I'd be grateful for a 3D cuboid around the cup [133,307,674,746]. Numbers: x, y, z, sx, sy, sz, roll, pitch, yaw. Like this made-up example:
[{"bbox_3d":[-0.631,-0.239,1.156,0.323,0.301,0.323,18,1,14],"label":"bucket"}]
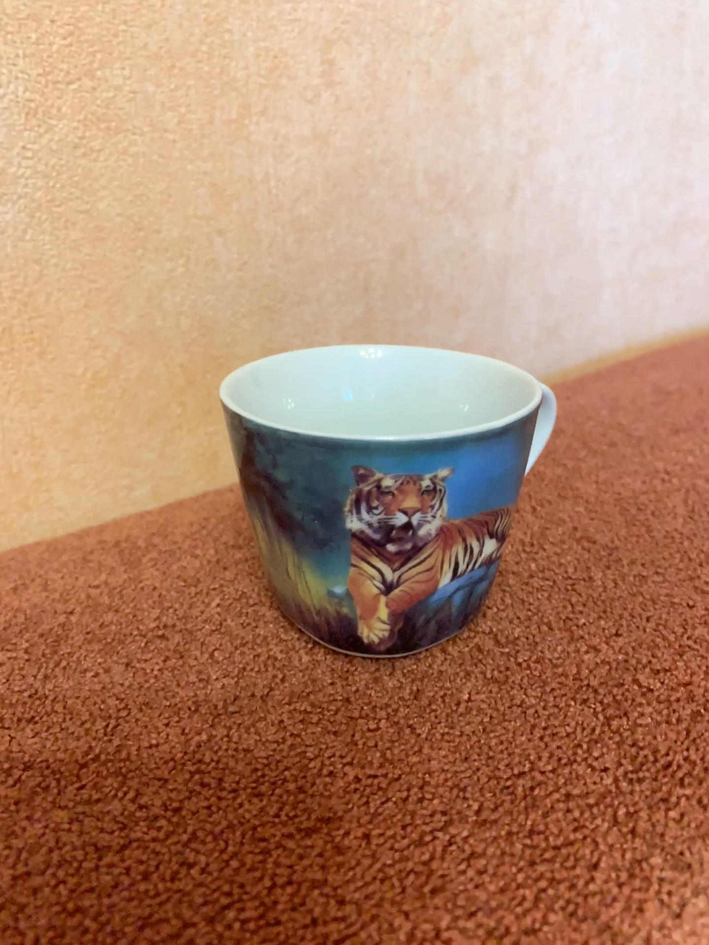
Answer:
[{"bbox_3d":[0.008,0.001,0.161,0.083,0.047,0.072,-17,29,-29],"label":"cup"}]
